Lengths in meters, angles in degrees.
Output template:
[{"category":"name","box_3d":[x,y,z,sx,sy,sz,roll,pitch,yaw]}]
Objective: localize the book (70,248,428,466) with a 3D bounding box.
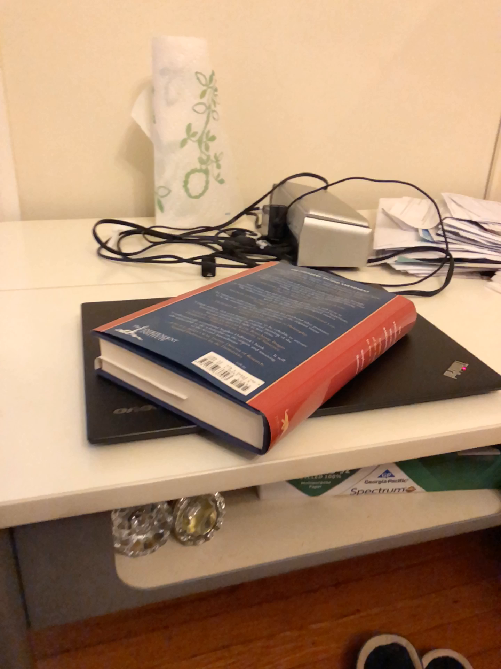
[{"category":"book","box_3d":[0.012,-0.007,0.438,0.170,0.040,0.241,18,31,33]}]
